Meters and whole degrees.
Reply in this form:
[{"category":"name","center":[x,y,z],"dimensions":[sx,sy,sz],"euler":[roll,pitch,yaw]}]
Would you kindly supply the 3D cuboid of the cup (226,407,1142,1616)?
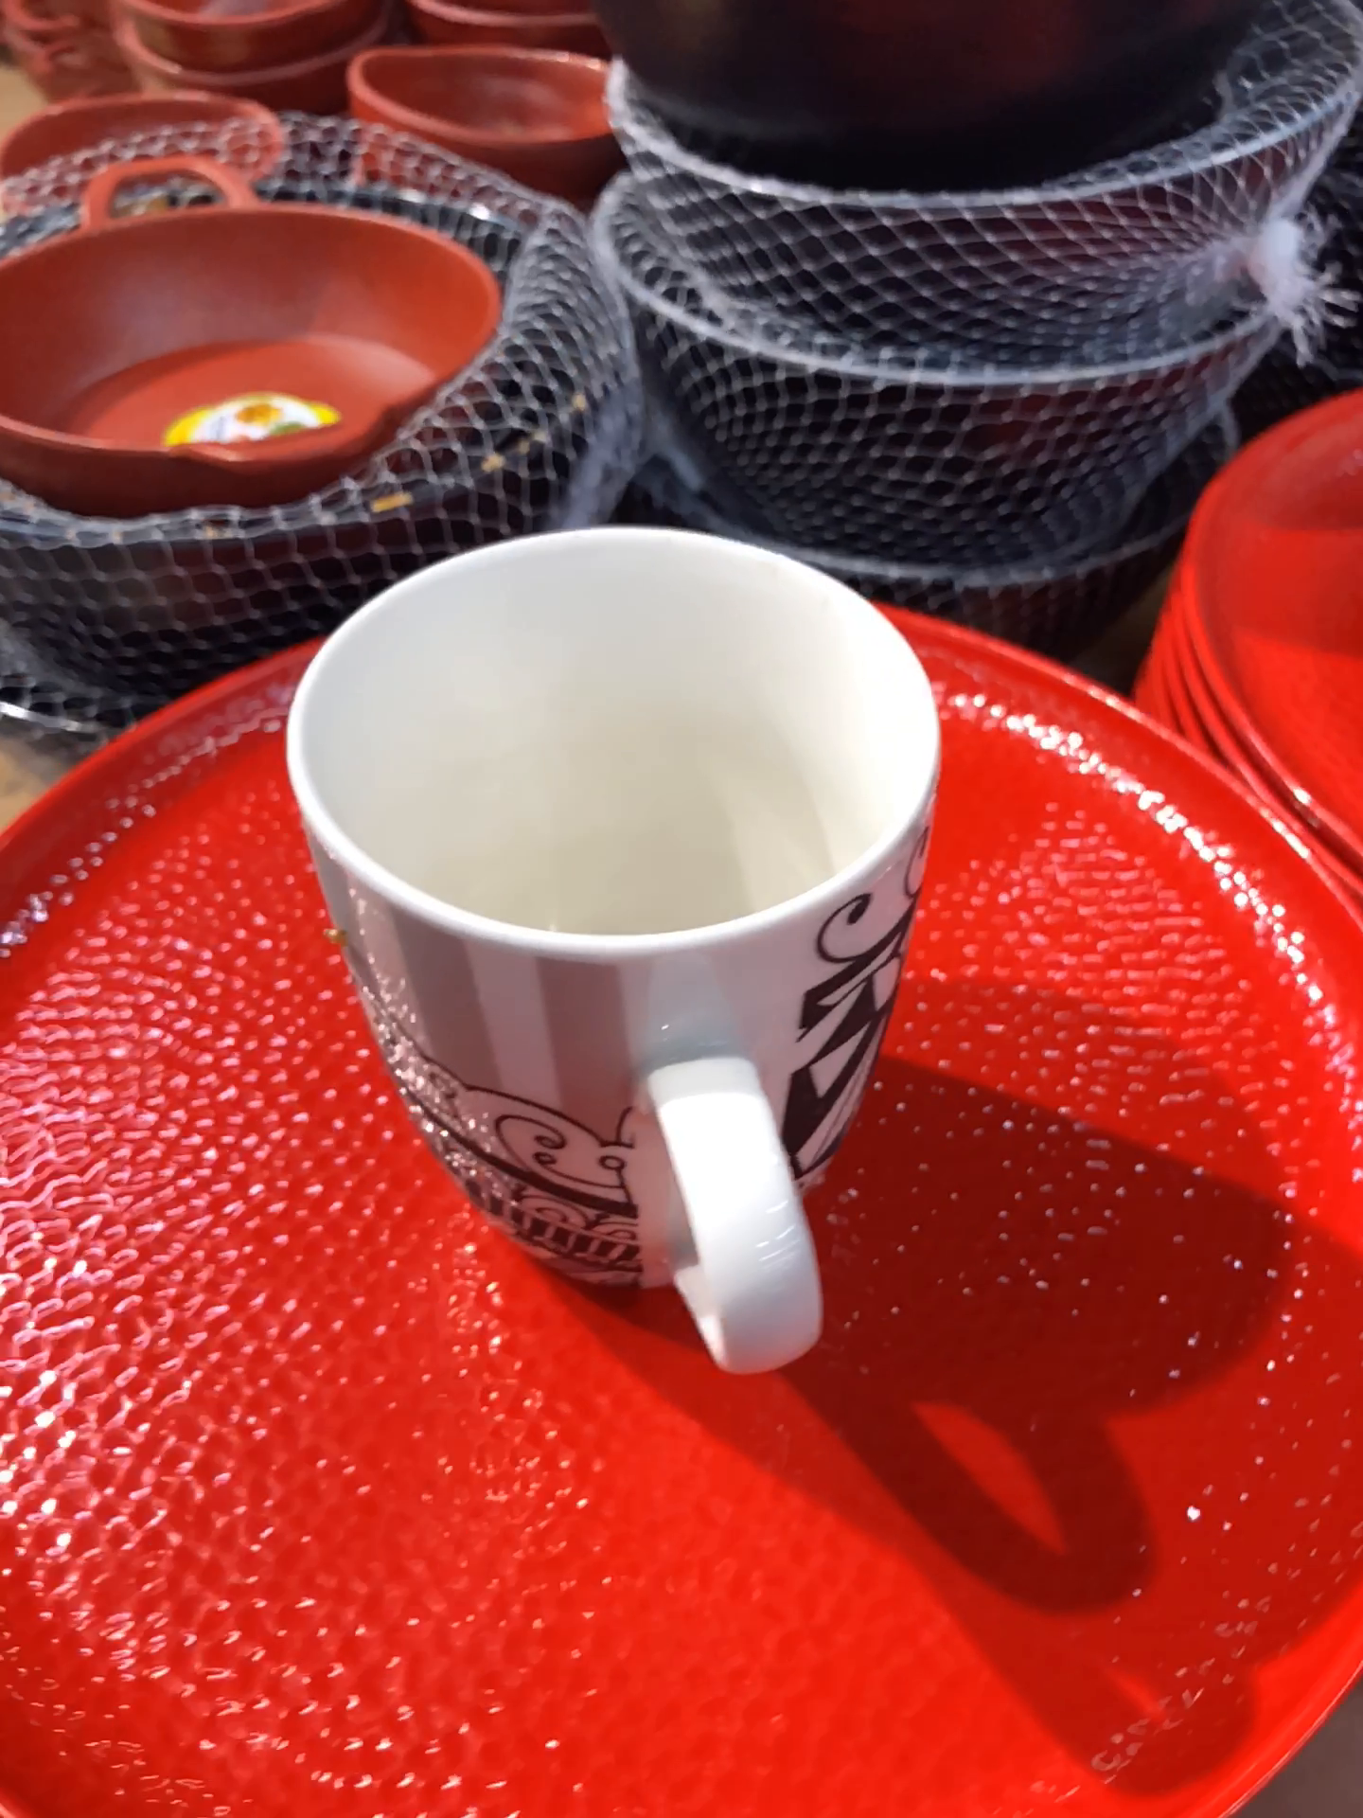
[{"category":"cup","center":[-0.010,0.009,0.214],"dimensions":[0.080,0.099,0.121],"euler":[-10,47,-10]}]
